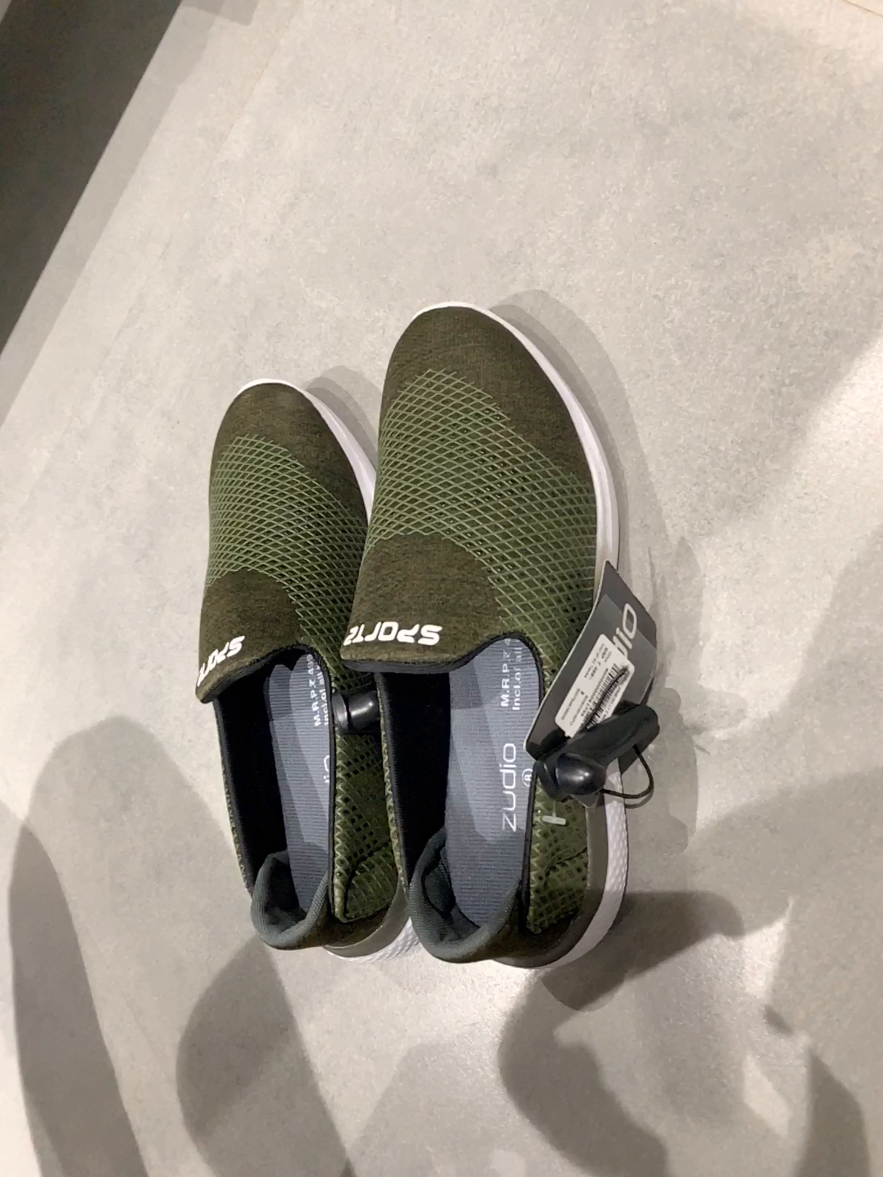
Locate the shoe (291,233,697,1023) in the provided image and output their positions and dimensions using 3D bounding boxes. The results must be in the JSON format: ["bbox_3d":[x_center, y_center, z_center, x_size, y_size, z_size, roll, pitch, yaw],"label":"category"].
[{"bbox_3d":[0.021,0.017,0.384,0.100,0.100,0.280,-13,79,31],"label":"shoe"}]

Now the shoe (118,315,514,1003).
[{"bbox_3d":[-0.063,0.032,0.432,0.100,0.100,0.280,-19,76,30],"label":"shoe"}]
